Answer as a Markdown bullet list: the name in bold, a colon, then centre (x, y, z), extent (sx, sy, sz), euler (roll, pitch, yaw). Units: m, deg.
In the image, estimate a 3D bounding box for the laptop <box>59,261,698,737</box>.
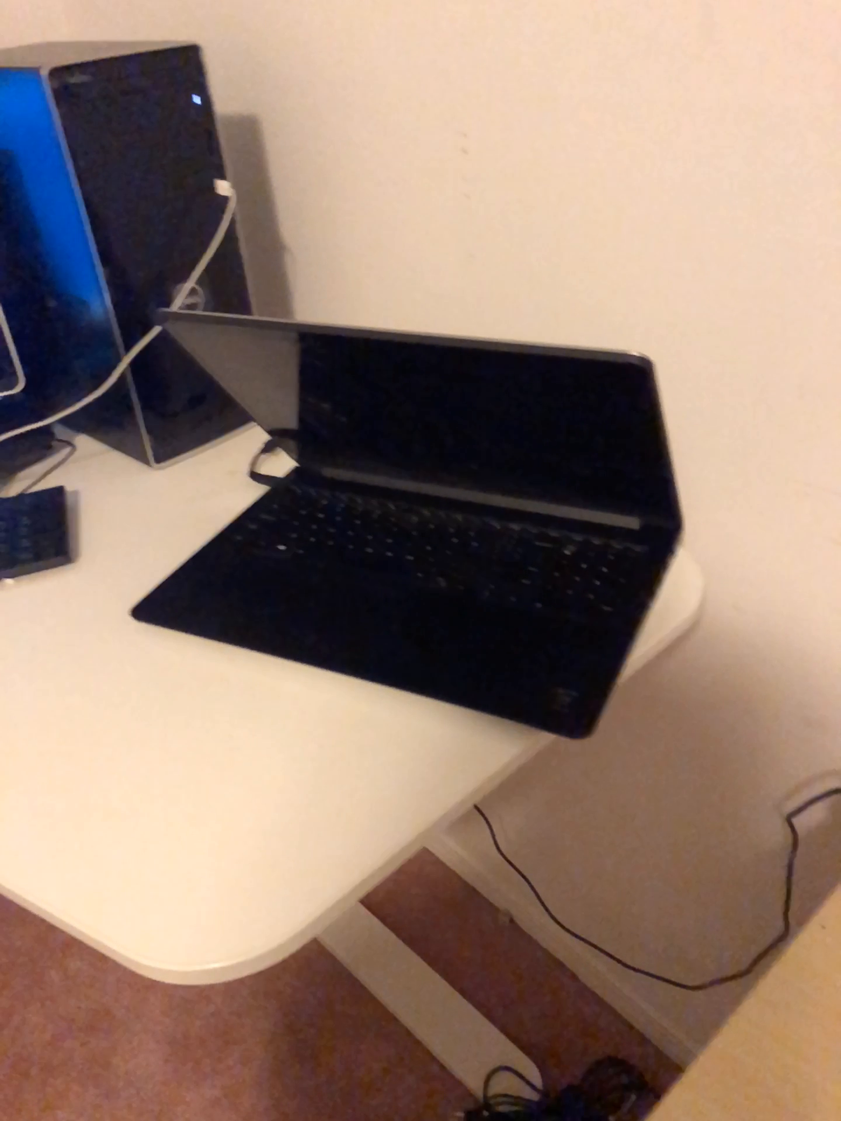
- **laptop**: centre (-0.016, -0.076, 0.691), extent (0.373, 0.207, 0.252), euler (11, 38, 25)
